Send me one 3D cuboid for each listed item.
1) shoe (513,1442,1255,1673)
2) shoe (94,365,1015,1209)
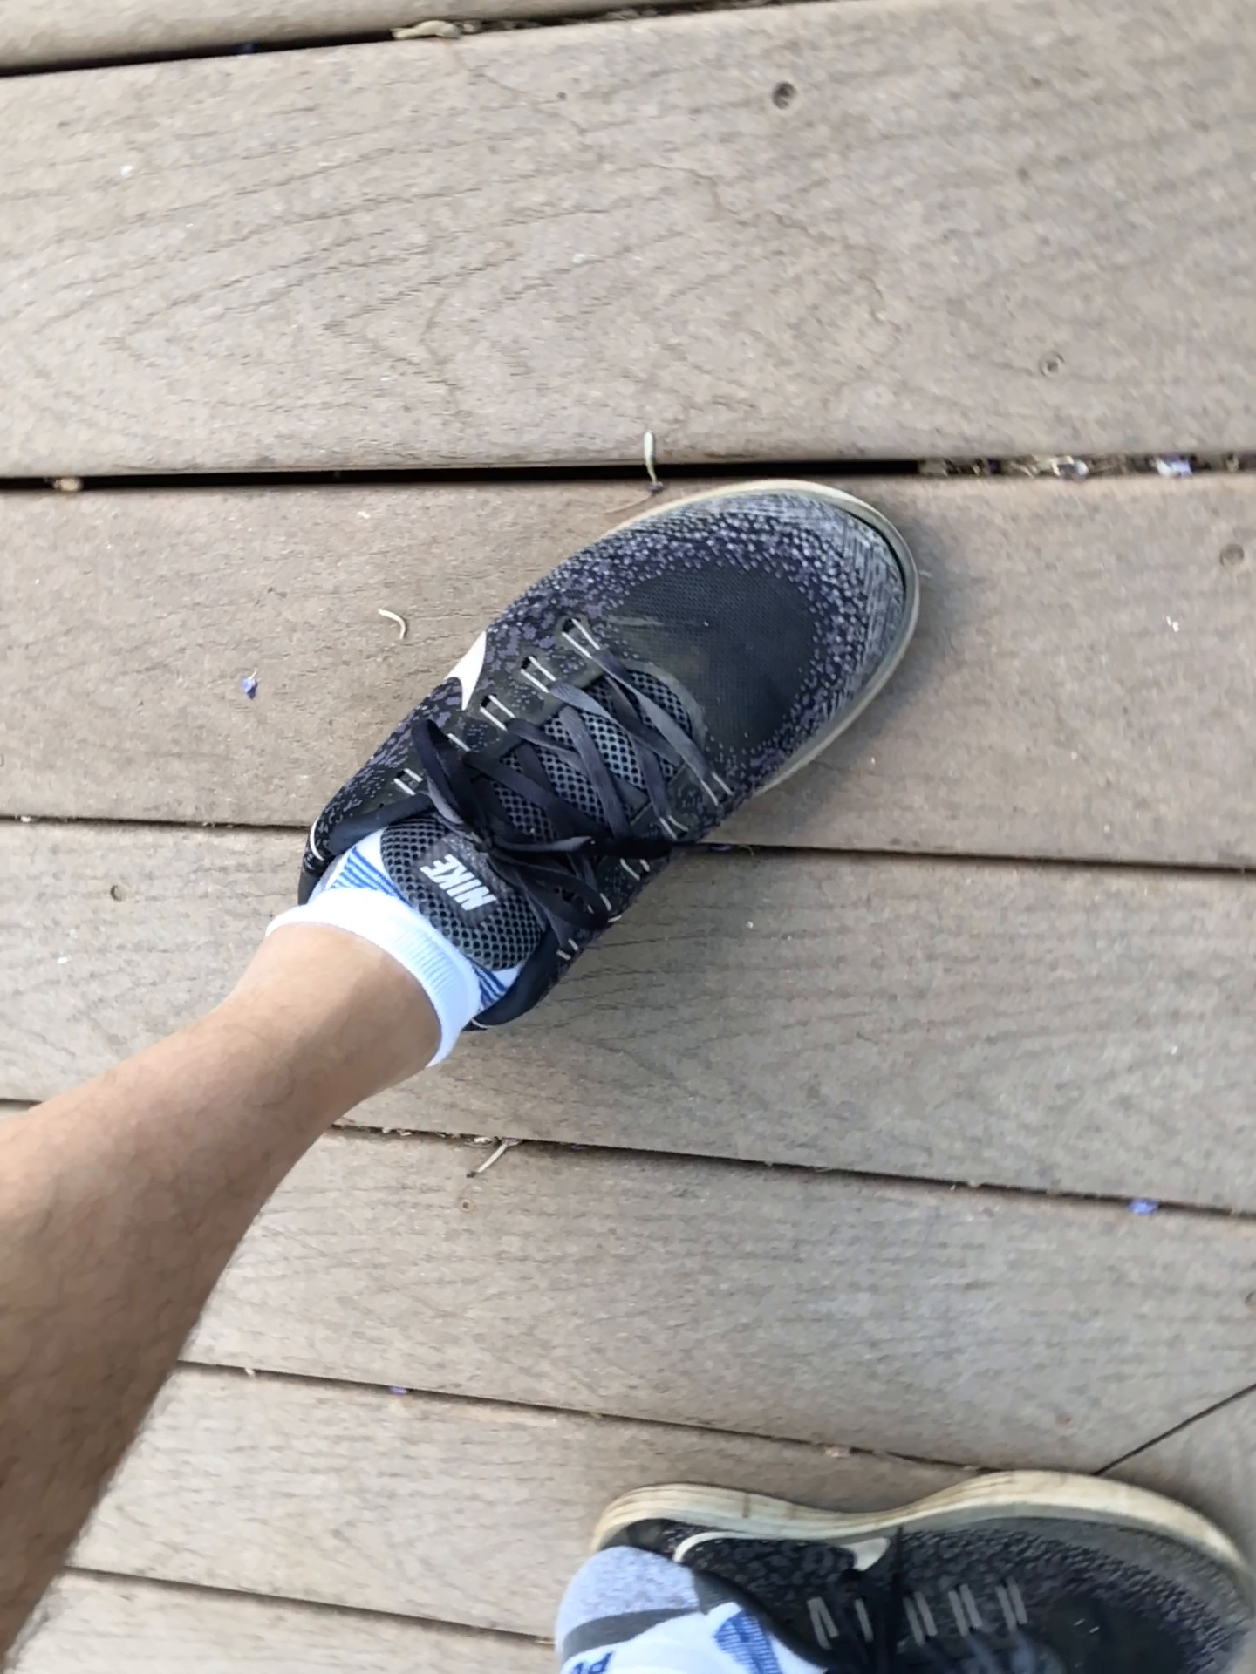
[{"bbox_3d":[0.124,0.351,0.606,0.320,0.090,0.120,-6,106,11],"label":"shoe"},{"bbox_3d":[-0.031,-0.012,0.497,0.310,0.090,0.120,-39,97,18],"label":"shoe"}]
